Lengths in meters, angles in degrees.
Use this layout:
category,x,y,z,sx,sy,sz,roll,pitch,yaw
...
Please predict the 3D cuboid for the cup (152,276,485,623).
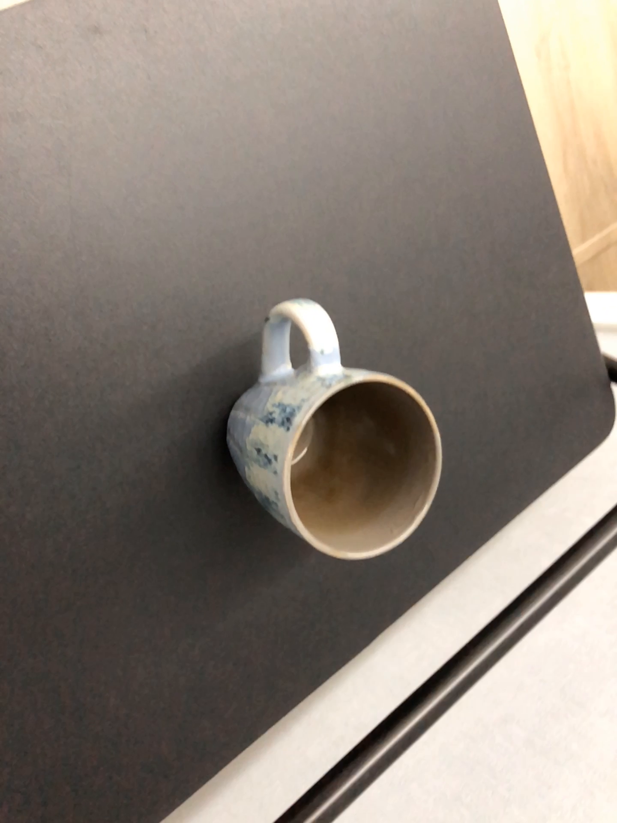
category,x,y,z,sx,sy,sz,roll,pitch,yaw
cup,0.003,0.008,0.330,0.089,0.107,0.120,-26,111,-24
